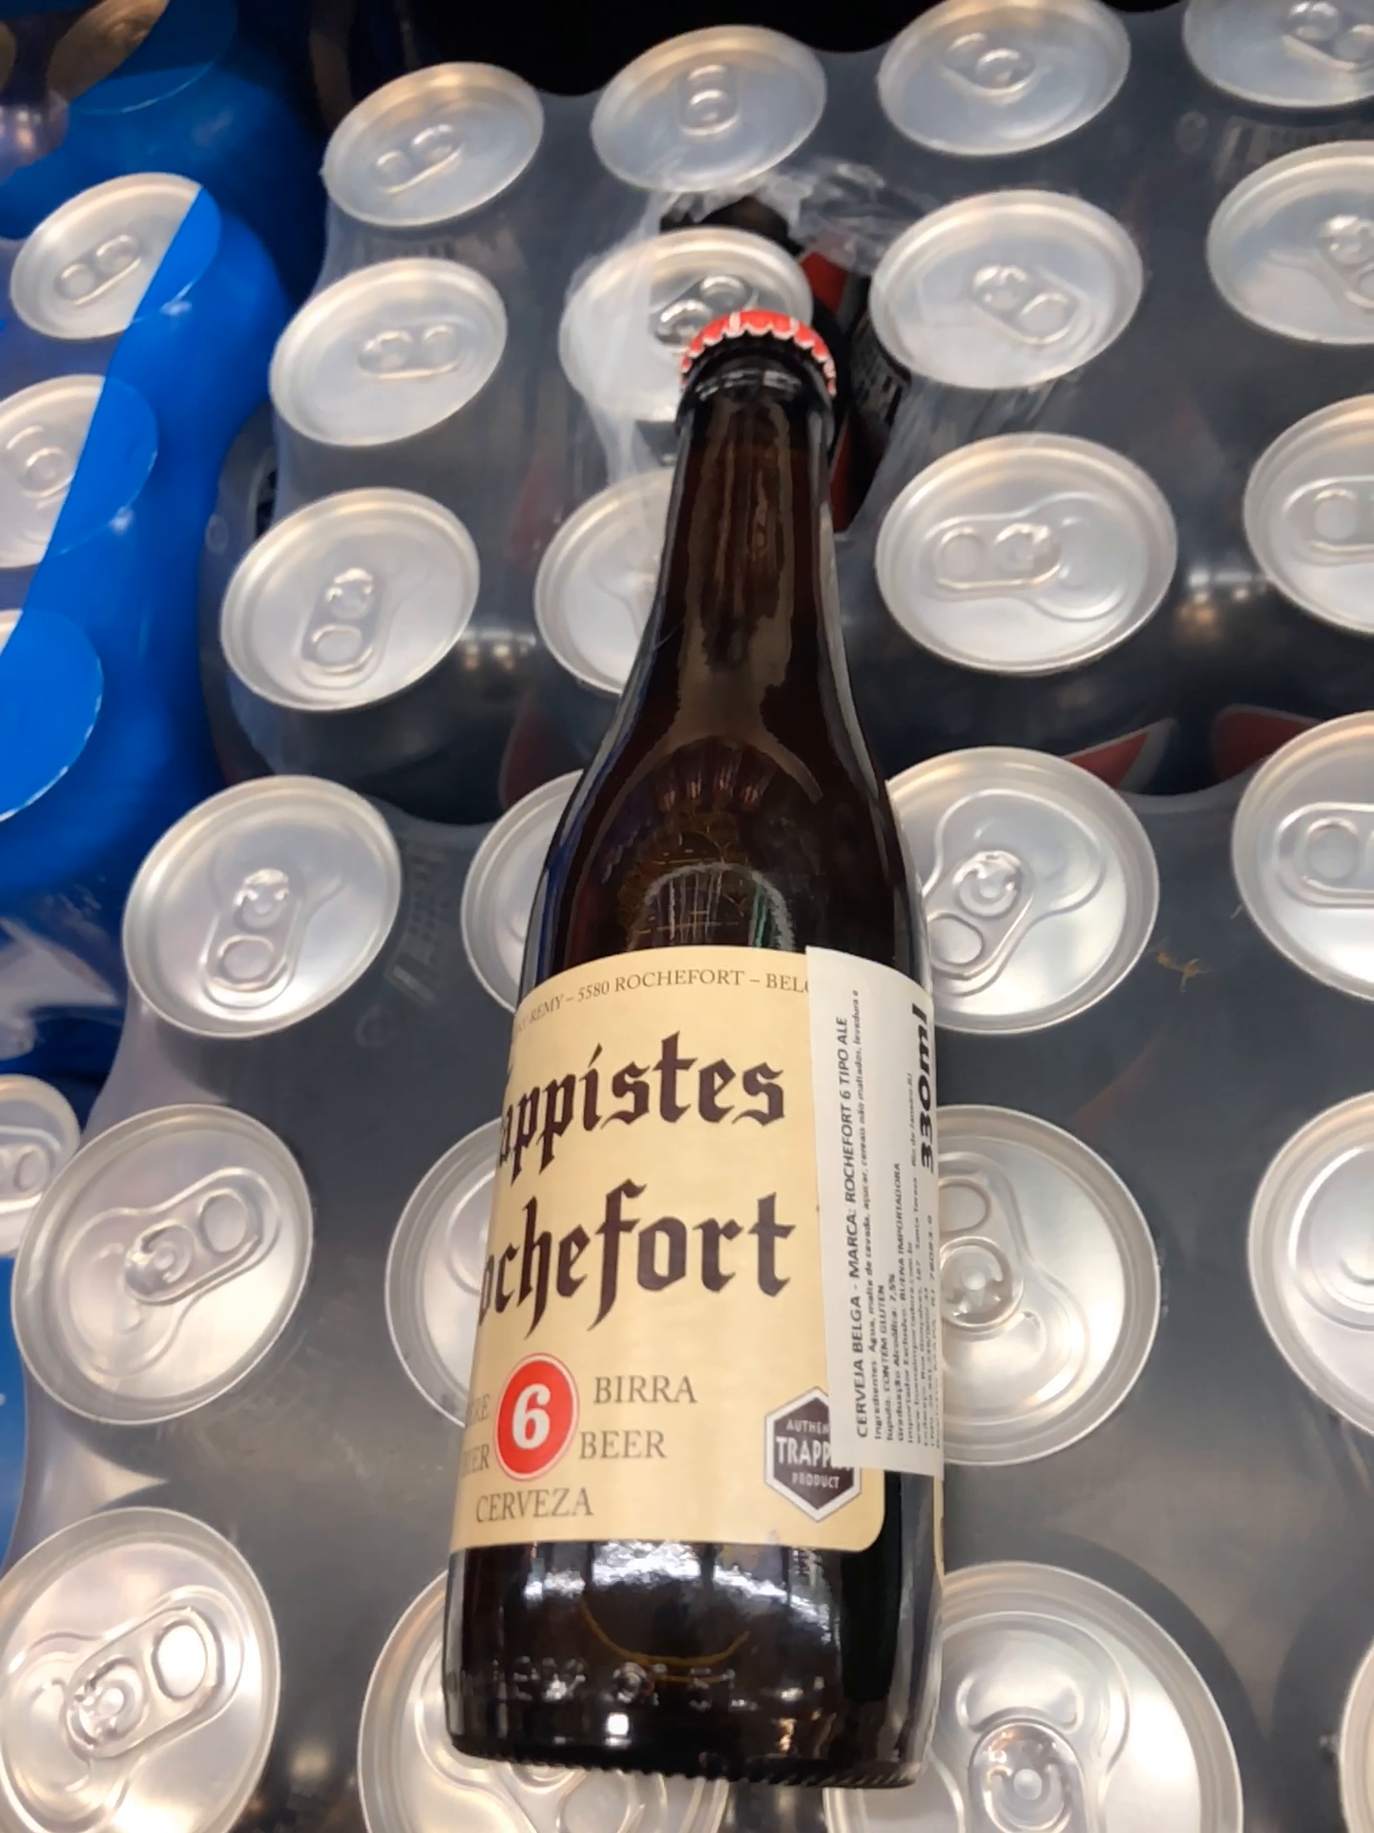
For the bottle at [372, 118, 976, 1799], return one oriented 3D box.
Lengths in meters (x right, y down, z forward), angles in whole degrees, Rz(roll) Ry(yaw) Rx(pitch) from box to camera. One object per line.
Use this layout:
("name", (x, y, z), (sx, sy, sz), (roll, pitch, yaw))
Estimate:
("bottle", (0.007, -0.011, 0.227), (0.060, 0.050, 0.241), (-3, 63, 11))
